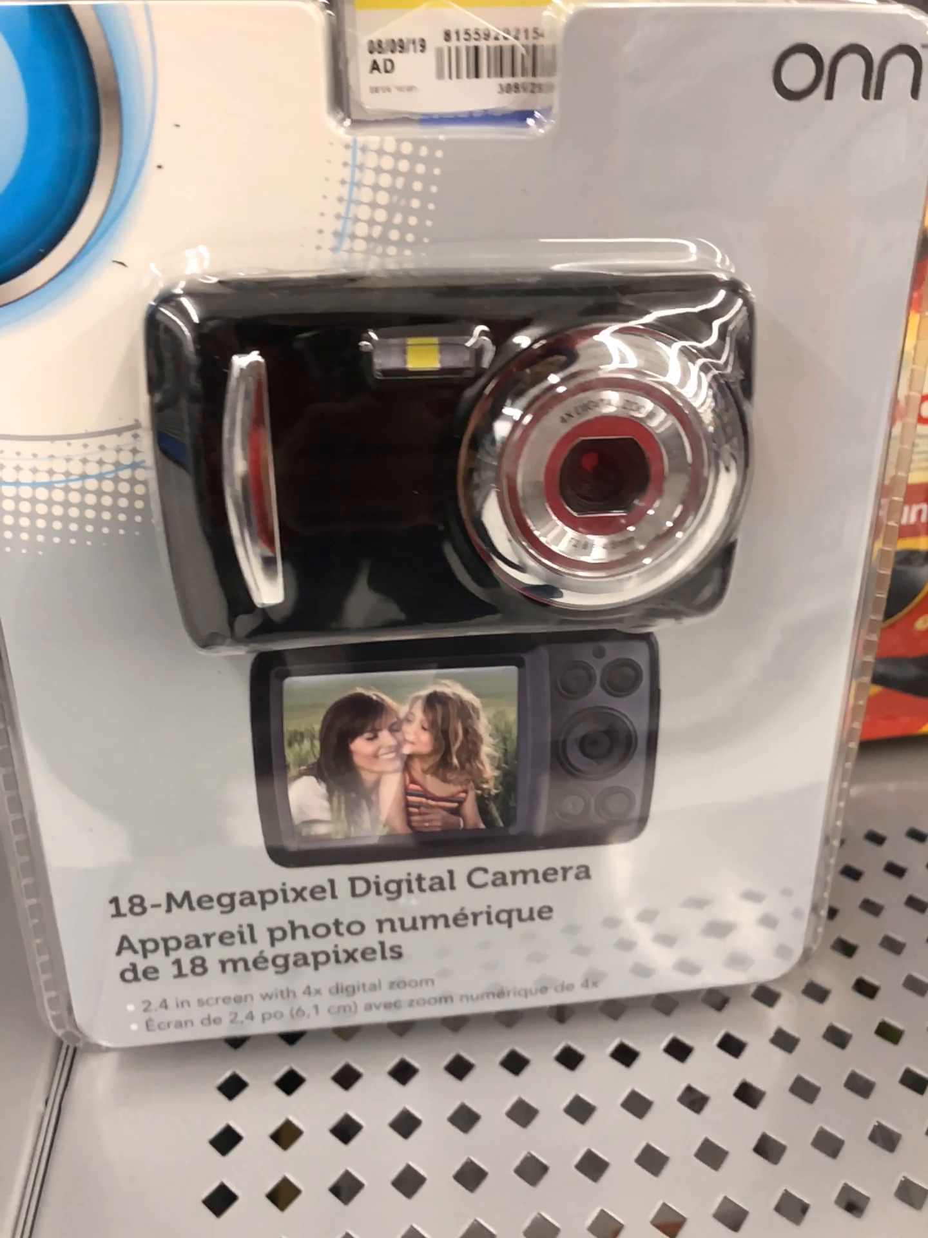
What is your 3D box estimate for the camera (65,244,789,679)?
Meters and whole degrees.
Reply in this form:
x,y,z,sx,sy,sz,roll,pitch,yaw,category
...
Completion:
x,y,z,sx,sy,sz,roll,pitch,yaw,category
-0.005,-0.027,0.171,0.100,0.060,0.030,-3,26,-5,camera
